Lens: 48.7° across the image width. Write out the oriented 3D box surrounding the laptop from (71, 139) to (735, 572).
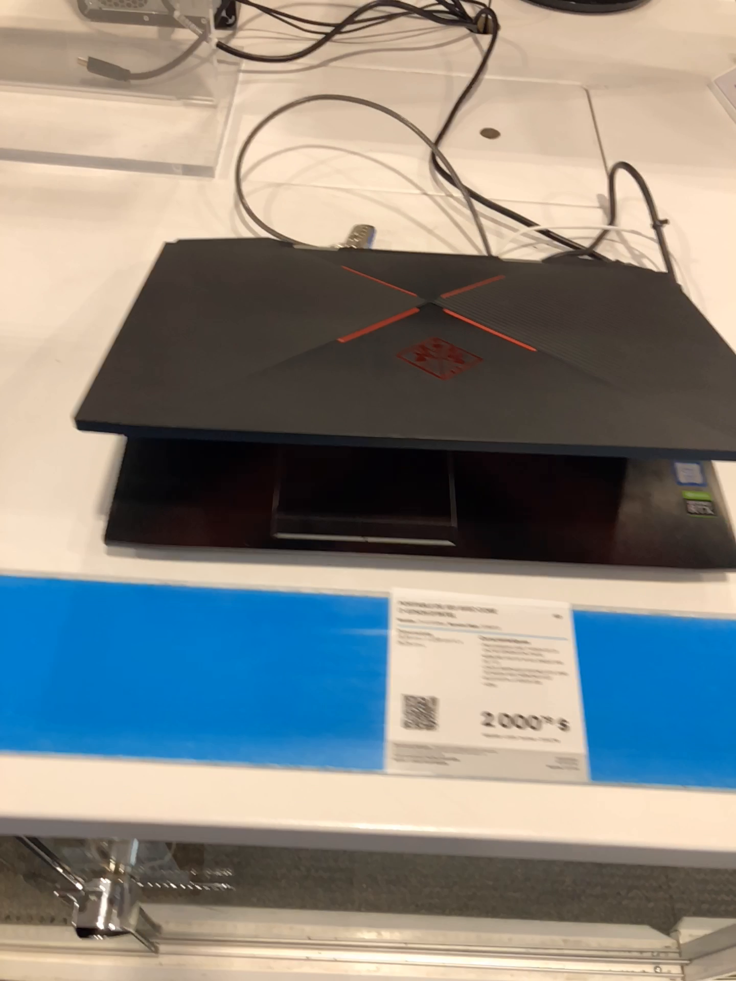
[{"bbox_3d":[0.037,-0.086,0.474,0.346,0.085,0.235,3,54,-2],"label":"laptop"}]
